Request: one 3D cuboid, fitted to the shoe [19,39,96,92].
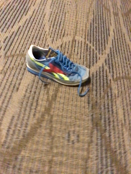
[{"bbox_3d":[-0.026,-0.077,0.540,0.259,0.095,0.101,14,55,-3],"label":"shoe"}]
